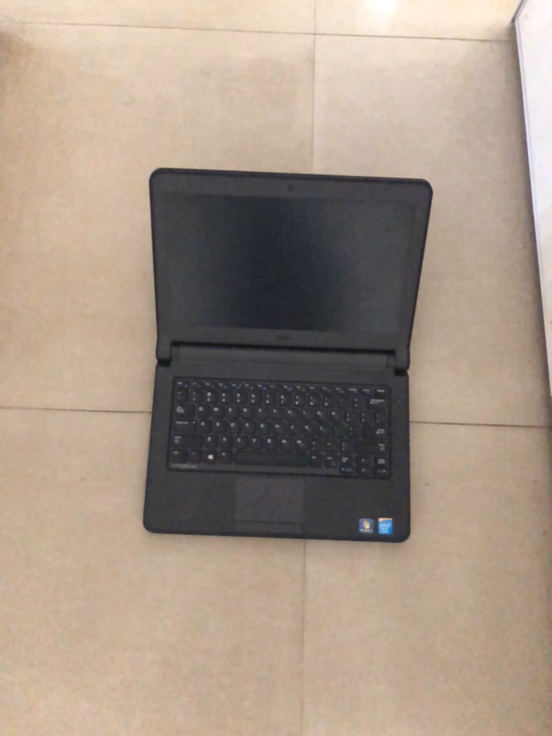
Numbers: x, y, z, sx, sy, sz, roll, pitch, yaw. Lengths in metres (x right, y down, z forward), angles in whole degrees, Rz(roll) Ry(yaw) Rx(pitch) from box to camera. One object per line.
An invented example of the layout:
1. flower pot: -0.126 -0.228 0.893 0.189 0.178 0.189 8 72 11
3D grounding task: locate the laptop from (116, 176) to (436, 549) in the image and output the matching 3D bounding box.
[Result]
1. laptop: 0.008 -0.001 0.715 0.312 0.154 0.392 2 76 0
